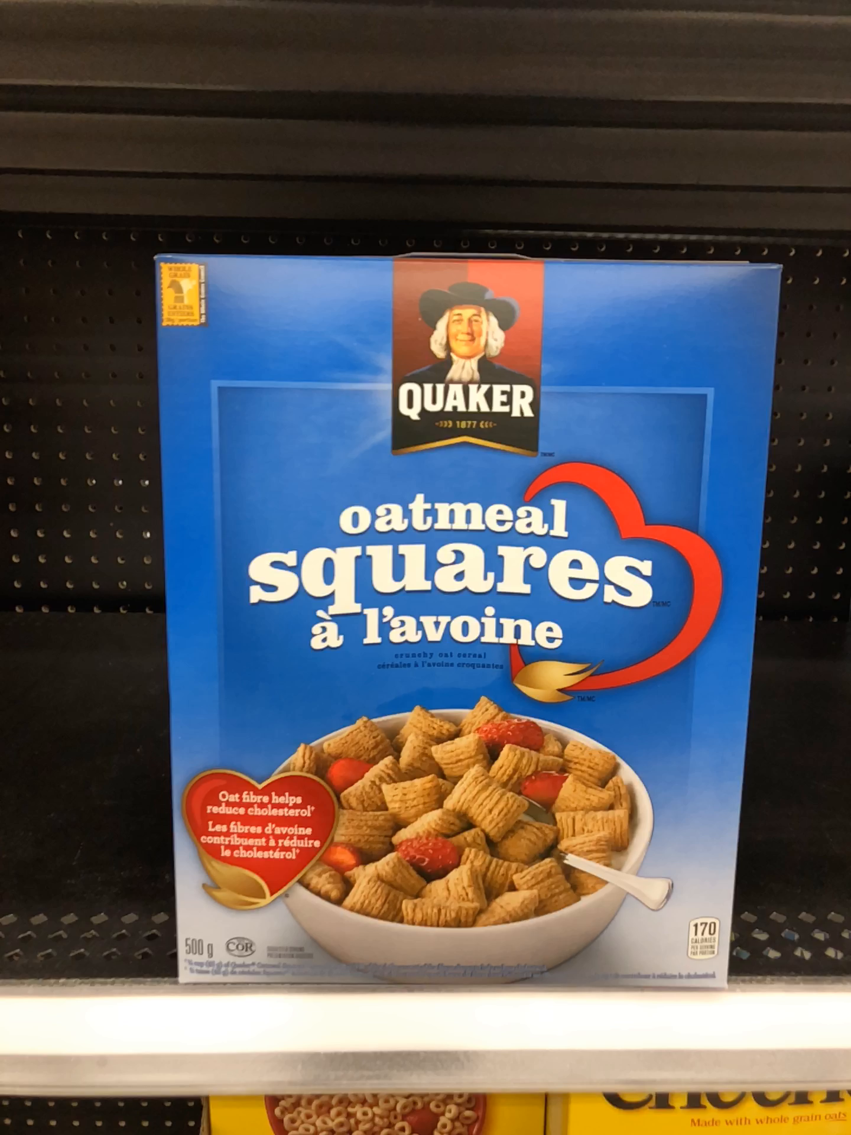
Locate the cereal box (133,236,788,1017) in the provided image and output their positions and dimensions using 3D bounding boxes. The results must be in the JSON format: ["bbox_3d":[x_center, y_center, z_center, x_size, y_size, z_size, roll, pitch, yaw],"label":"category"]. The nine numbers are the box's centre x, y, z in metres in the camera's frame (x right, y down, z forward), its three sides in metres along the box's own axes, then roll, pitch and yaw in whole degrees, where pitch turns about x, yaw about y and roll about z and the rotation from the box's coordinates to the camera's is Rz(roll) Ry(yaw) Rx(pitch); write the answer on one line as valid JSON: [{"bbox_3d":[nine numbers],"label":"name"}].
[{"bbox_3d":[0.008,0.027,0.357,0.210,0.279,0.060,1,11,-2],"label":"cereal box"}]
